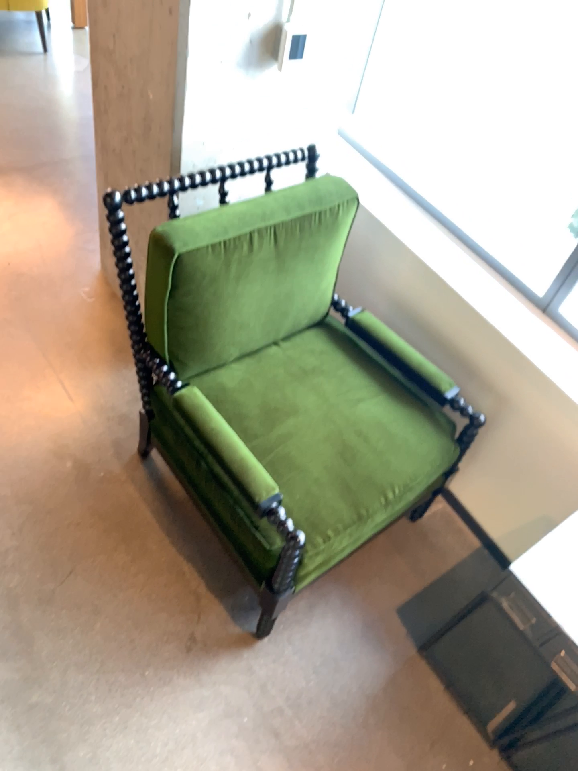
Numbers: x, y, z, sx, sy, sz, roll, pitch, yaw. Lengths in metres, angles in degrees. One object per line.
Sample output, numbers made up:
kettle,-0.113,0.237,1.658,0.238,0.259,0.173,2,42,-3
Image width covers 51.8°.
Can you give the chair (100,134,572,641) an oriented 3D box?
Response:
chair,0.020,-0.003,1.783,0.731,0.975,0.923,-27,61,-31
